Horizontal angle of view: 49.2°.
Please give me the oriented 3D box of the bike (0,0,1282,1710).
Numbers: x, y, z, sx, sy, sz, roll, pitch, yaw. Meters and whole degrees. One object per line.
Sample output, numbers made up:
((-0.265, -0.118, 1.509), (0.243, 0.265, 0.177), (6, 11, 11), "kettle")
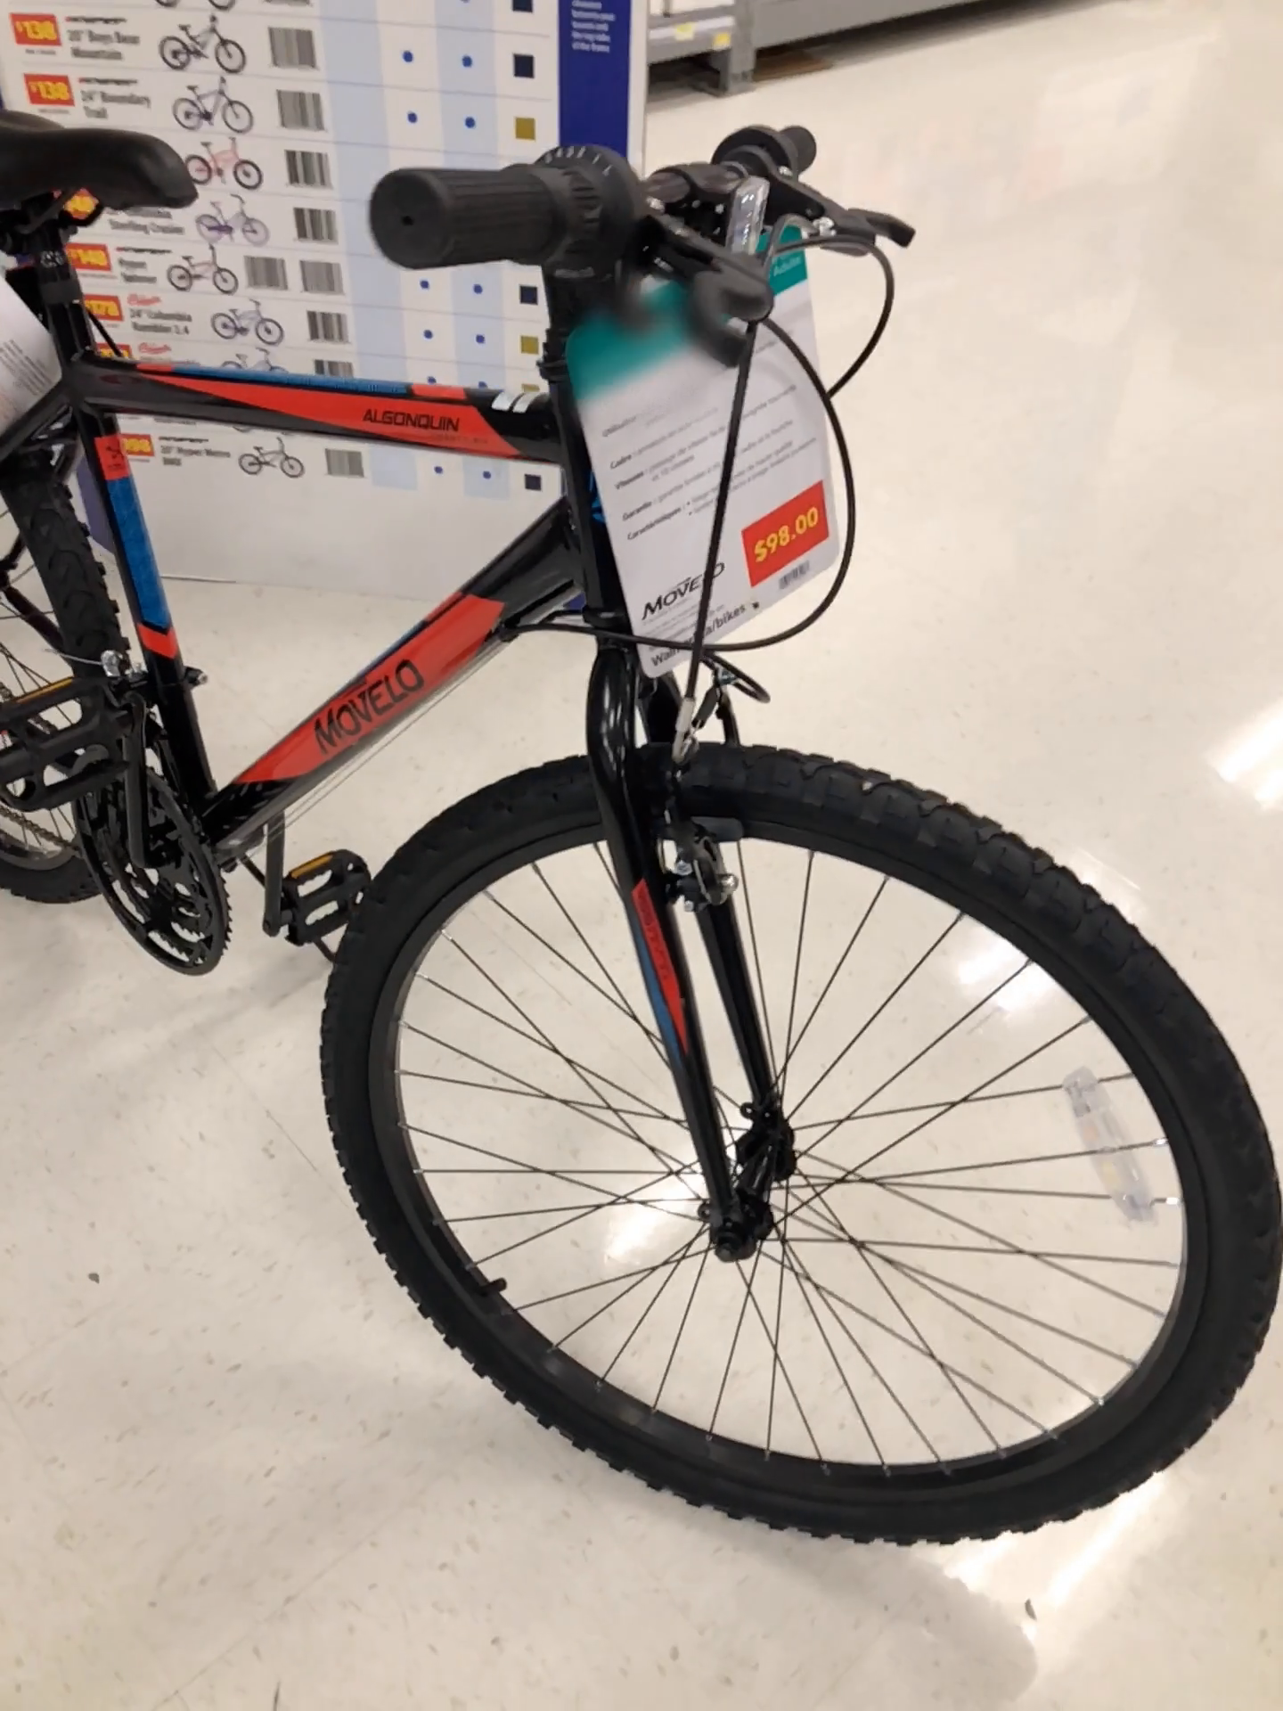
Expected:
((-0.159, -0.092, 0.954), (1.288, 0.942, 0.561), (29, 50, 27), "bike")
